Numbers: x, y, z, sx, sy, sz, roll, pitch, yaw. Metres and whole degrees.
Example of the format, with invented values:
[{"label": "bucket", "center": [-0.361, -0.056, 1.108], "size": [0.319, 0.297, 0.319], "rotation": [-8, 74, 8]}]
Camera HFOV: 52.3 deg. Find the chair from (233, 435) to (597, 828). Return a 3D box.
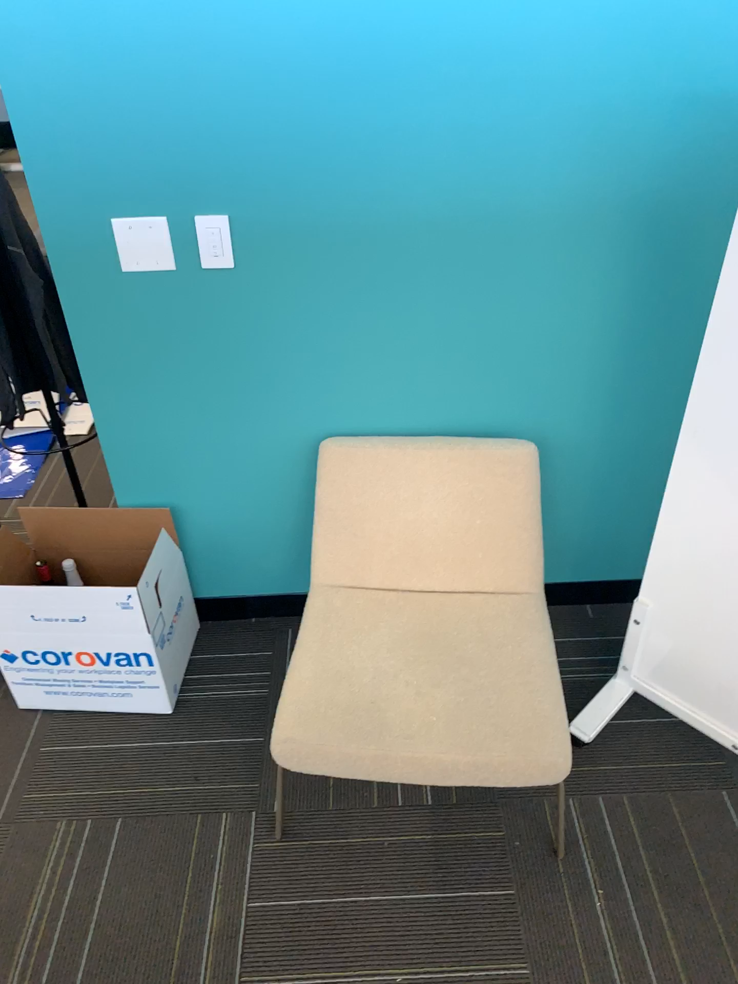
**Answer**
[{"label": "chair", "center": [0.107, 0.299, 1.828], "size": [0.660, 0.567, 0.734], "rotation": [1, 36, 4]}]
